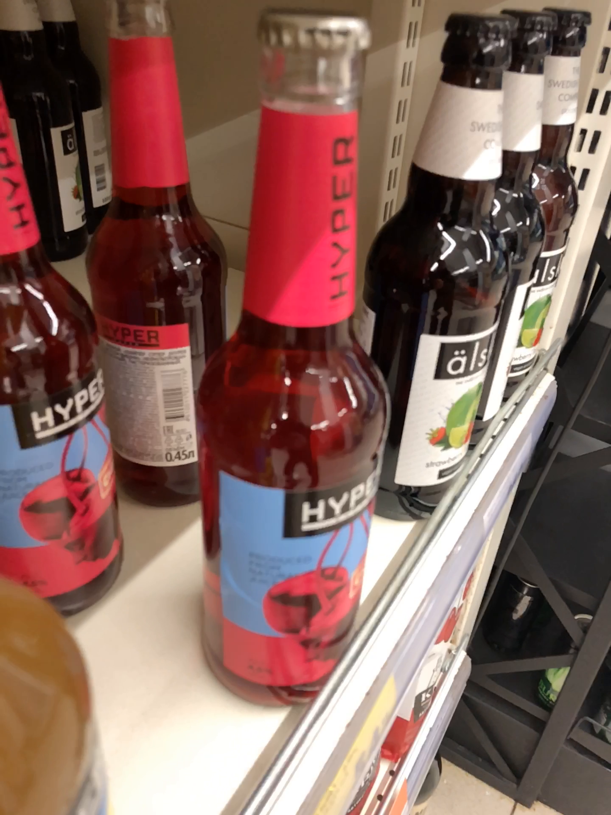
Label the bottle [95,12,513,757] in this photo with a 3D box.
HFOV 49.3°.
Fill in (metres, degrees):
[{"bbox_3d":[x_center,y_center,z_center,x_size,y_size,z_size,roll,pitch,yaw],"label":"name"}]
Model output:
[{"bbox_3d":[-0.005,0.005,0.235,0.070,0.243,0.080,29,41,32],"label":"bottle"}]
